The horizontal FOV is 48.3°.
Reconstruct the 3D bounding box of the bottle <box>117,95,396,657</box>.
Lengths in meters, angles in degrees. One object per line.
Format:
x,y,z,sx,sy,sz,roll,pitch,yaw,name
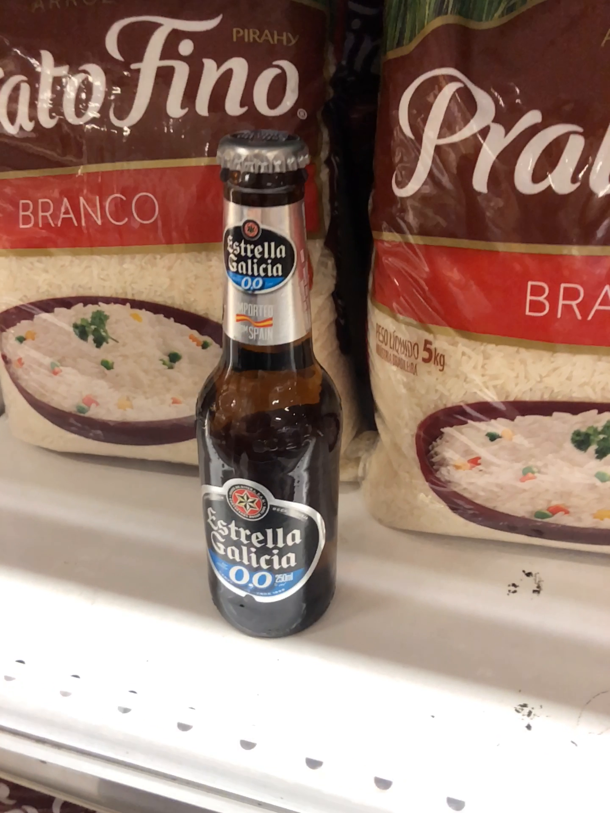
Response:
-0.012,-0.003,0.245,0.060,0.189,0.060,1,34,-1,bottle
